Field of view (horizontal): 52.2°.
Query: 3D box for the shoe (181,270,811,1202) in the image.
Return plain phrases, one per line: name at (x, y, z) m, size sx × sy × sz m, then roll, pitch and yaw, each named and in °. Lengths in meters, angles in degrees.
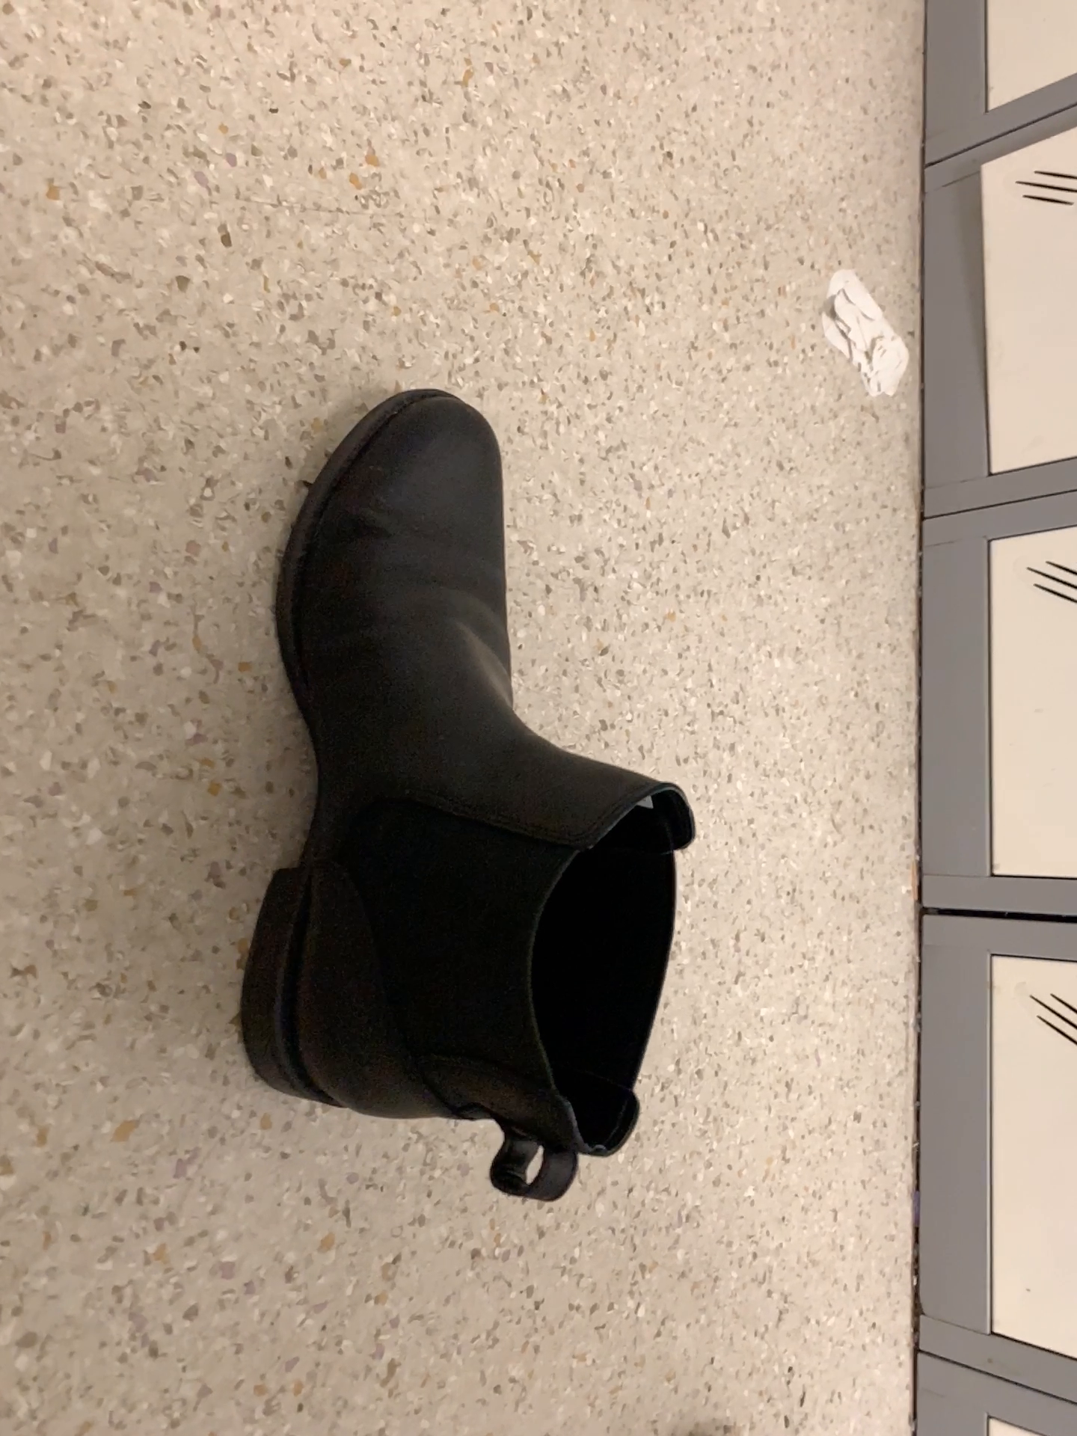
shoe at (-0.012, 0.010, 0.394) m, size 0.107 × 0.163 × 0.262 m, roll 20°, pitch 72°, yaw -45°
